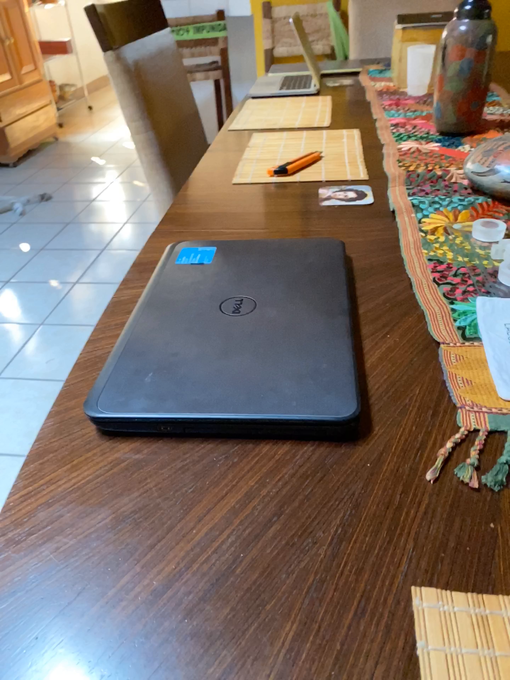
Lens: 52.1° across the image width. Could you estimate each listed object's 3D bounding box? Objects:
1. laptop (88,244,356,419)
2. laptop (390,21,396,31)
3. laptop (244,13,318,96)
[{"bbox_3d":[-0.018,-0.036,0.618,0.248,0.001,0.354,0,36,6],"label":"laptop"},{"bbox_3d":[0.428,-0.976,1.618,0.002,0.003,0.281,-24,28,24],"label":"laptop"},{"bbox_3d":[0.097,-0.956,1.740,0.216,0.194,0.320,1,35,10],"label":"laptop"}]
